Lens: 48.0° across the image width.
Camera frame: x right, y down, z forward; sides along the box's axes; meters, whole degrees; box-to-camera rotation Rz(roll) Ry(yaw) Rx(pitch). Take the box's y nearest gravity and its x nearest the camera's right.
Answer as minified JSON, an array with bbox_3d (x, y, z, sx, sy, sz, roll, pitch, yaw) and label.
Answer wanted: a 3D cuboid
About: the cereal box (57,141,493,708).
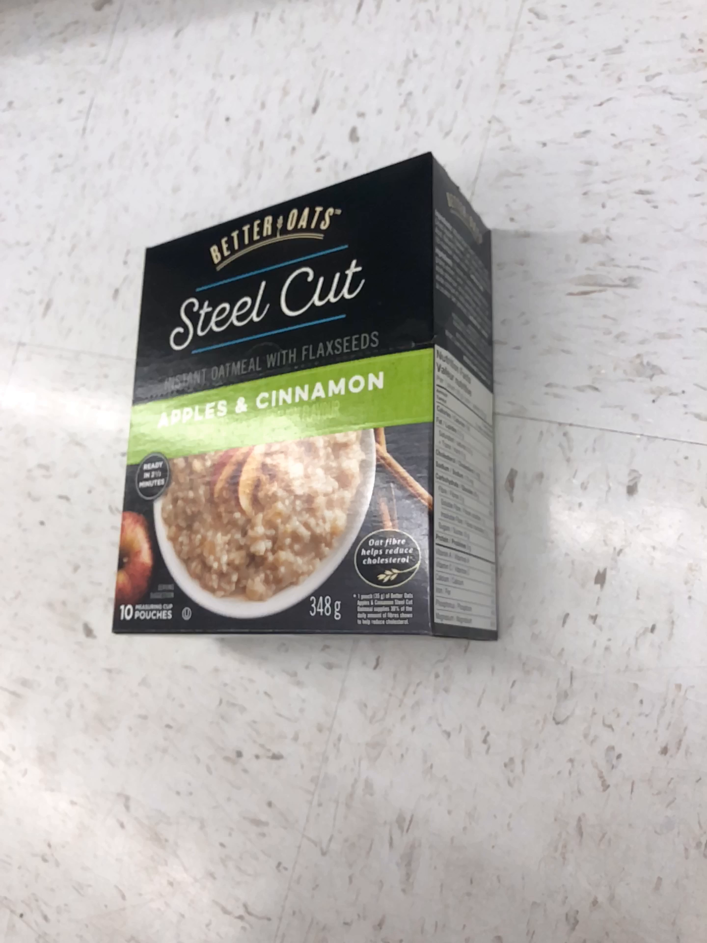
[{"bbox_3d":[-0.032,-0.008,0.336,0.161,0.070,0.200,-7,74,30],"label":"cereal box"}]
